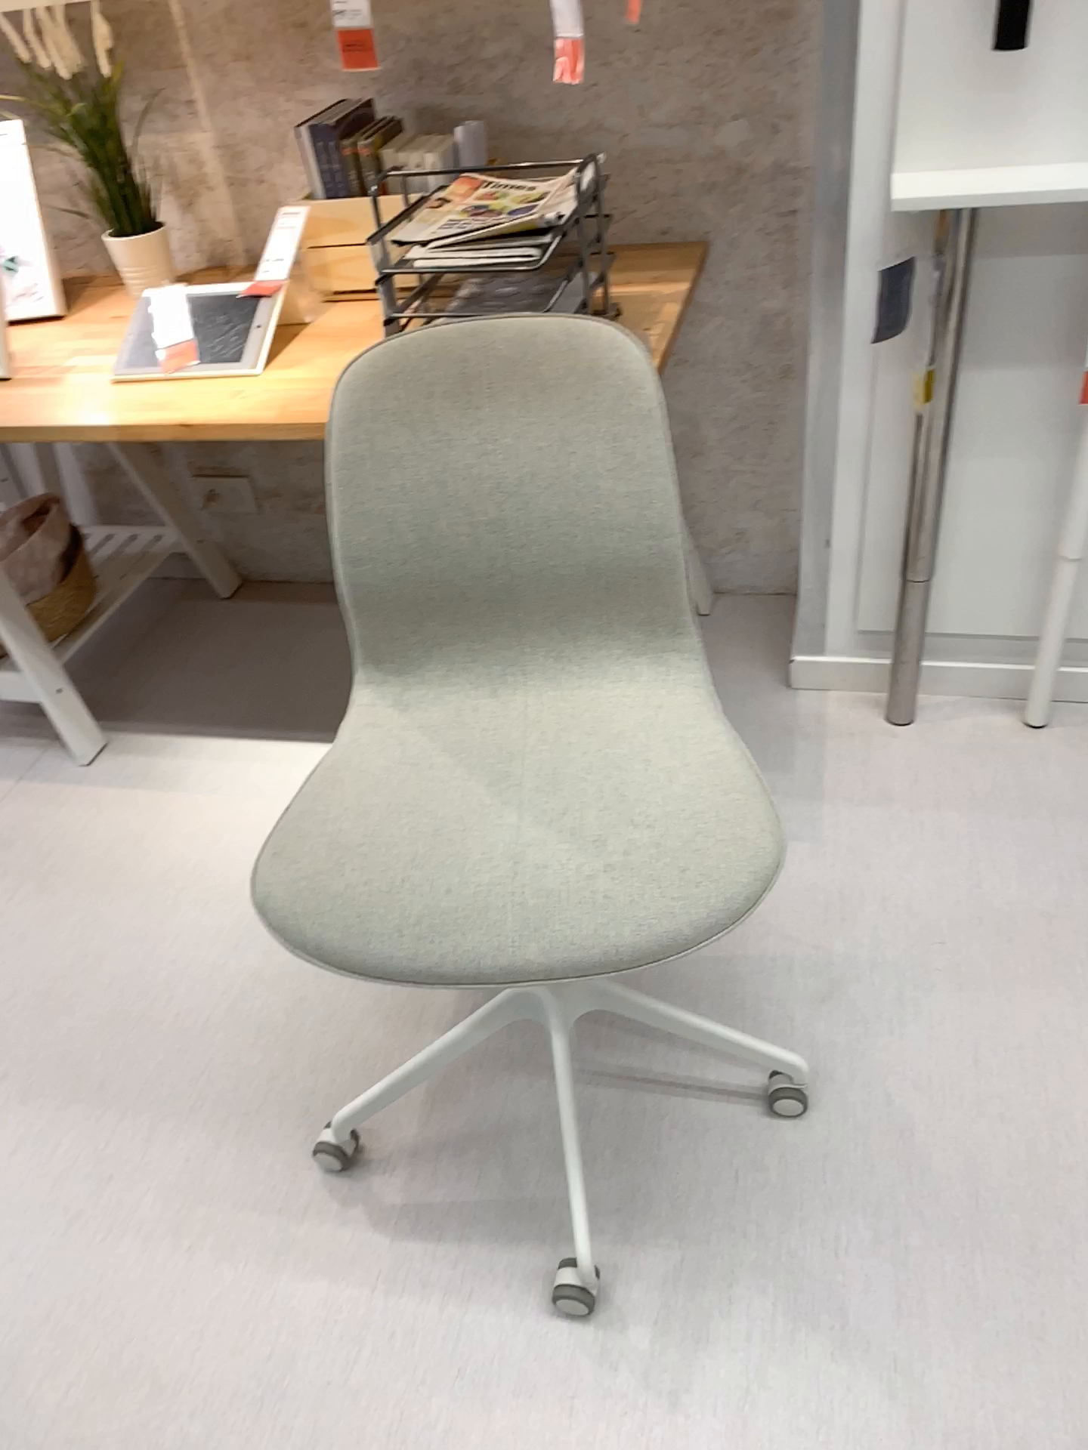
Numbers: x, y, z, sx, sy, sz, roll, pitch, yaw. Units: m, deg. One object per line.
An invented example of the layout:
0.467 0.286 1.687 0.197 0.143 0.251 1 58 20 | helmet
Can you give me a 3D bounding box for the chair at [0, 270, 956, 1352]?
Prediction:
-0.015 0.092 1.173 0.660 0.866 0.662 0 38 10 | chair
